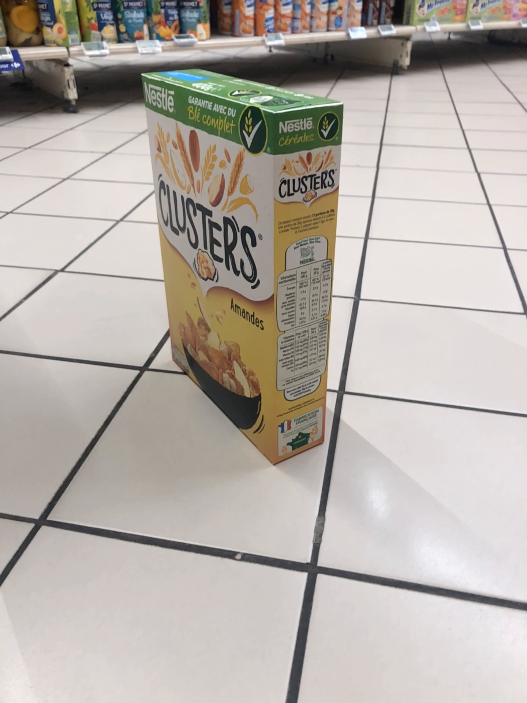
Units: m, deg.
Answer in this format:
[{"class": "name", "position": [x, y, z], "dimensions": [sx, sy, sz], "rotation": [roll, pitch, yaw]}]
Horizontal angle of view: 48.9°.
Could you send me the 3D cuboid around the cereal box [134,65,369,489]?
[{"class": "cereal box", "position": [-0.021, -0.066, 0.460], "dimensions": [0.060, 0.268, 0.211], "rotation": [-18, 36, -26]}]
